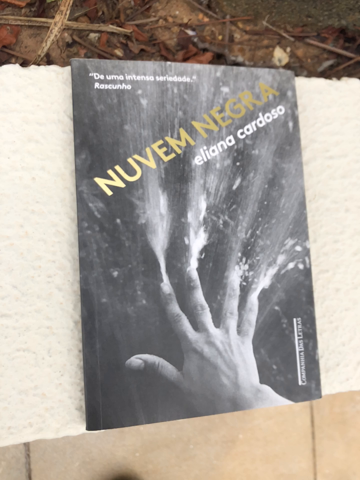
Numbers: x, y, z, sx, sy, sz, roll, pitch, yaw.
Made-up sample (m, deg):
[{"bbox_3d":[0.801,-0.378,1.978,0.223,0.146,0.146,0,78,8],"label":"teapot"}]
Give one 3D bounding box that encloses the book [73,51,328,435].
[{"bbox_3d":[0.014,-0.003,0.235,0.140,0.013,0.200,-2,87,-15],"label":"book"}]
